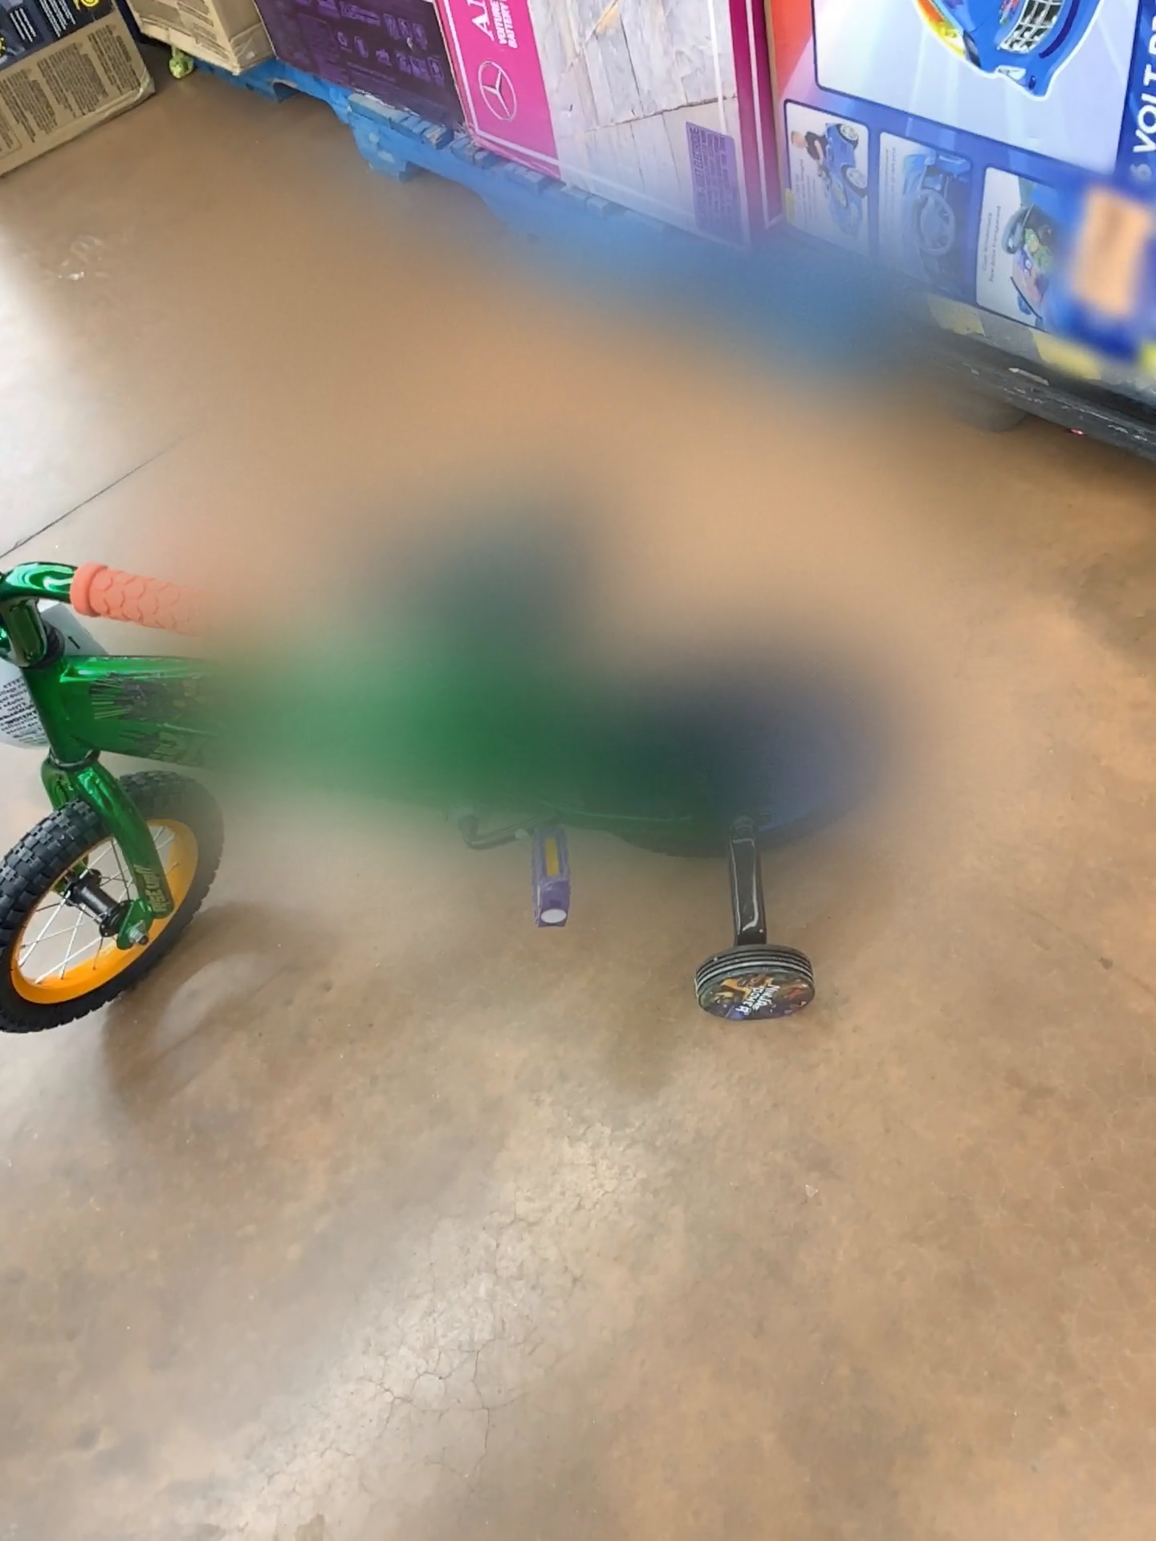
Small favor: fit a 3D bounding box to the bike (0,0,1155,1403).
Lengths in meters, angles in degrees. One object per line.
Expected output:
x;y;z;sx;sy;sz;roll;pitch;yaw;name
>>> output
-0.154;-0.027;0.829;0.850;0.733;0.491;-16;52;-2;bike
